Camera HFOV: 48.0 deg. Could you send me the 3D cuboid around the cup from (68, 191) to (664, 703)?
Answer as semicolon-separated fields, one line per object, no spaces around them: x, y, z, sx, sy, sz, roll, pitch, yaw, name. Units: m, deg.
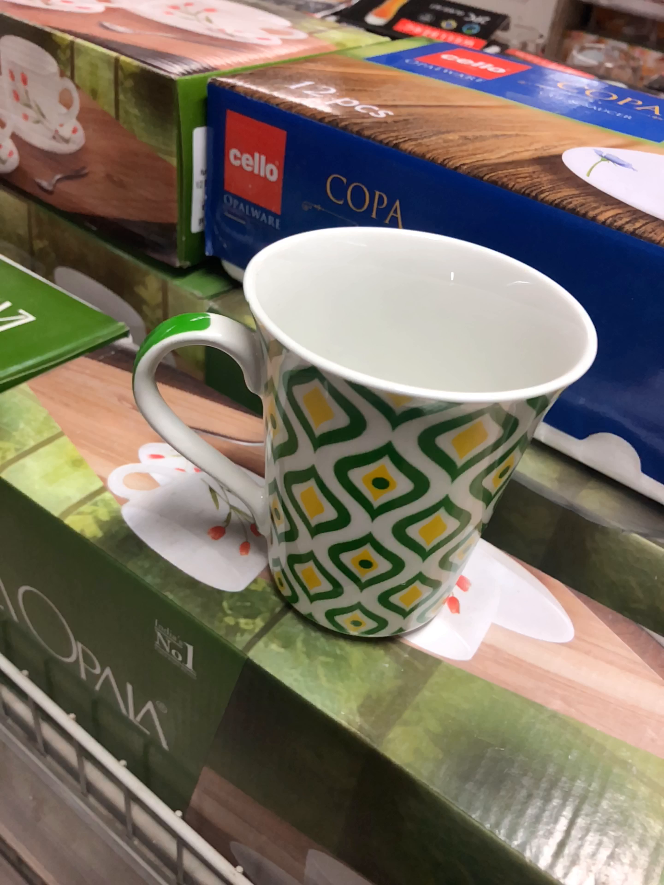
0.004;0.004;0.205;0.120;0.109;0.081;1;41;-8;cup
